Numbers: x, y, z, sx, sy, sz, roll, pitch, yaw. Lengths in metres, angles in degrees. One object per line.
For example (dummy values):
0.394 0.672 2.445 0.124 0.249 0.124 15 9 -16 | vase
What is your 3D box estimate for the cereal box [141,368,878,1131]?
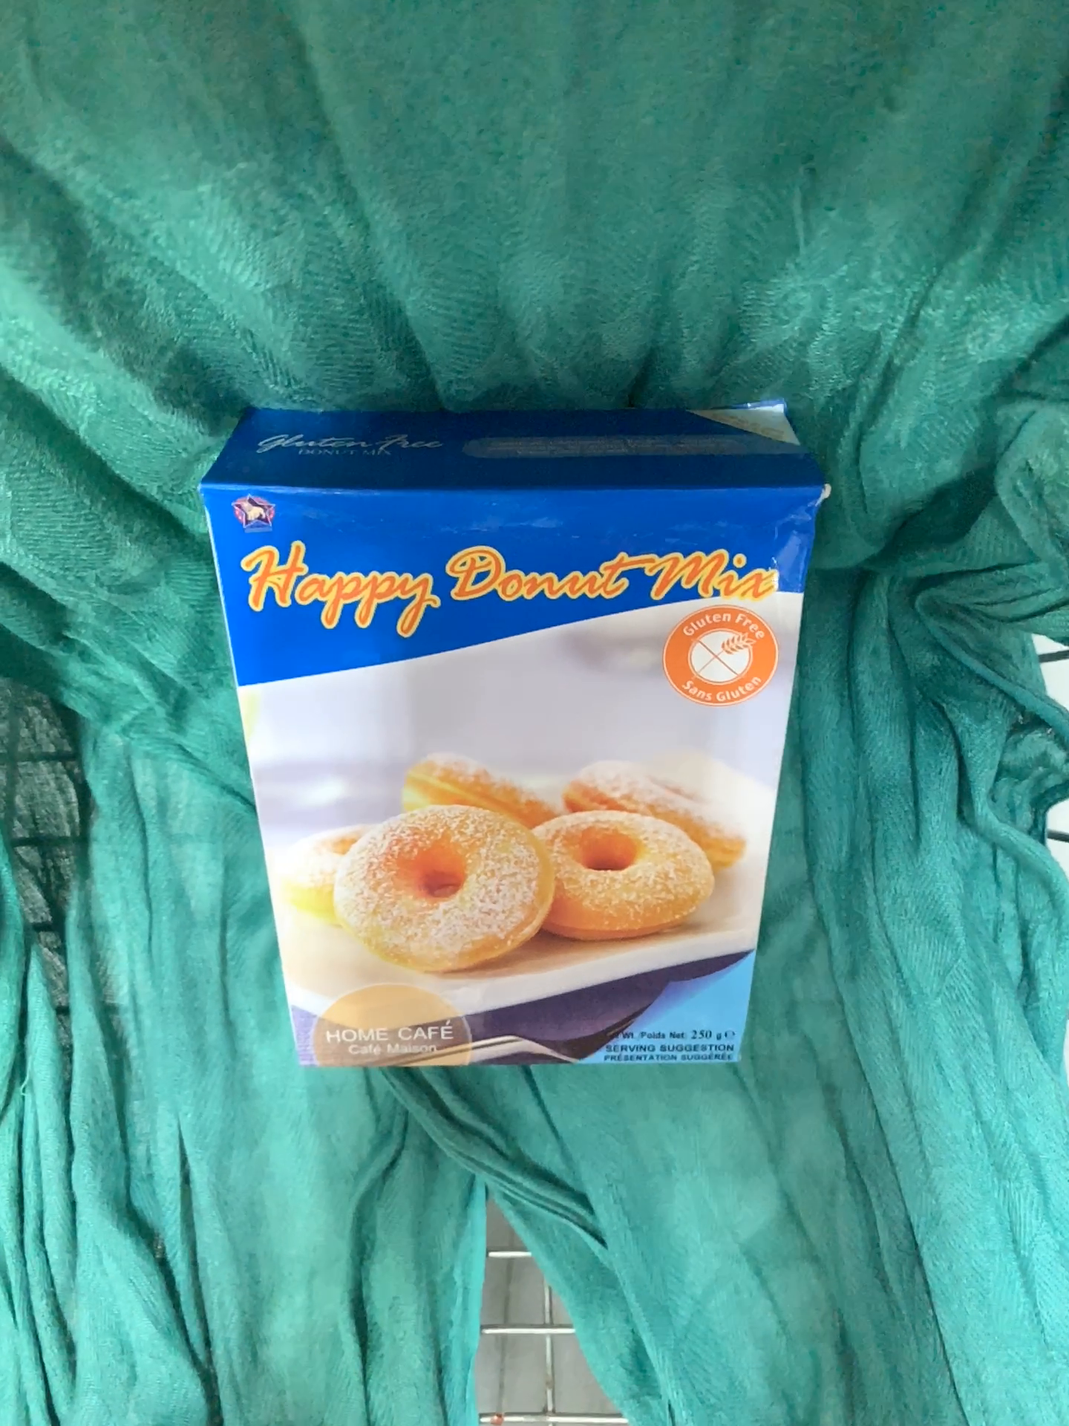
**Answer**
-0.004 0.016 0.268 0.130 0.060 0.180 -1 123 -1 | cereal box
